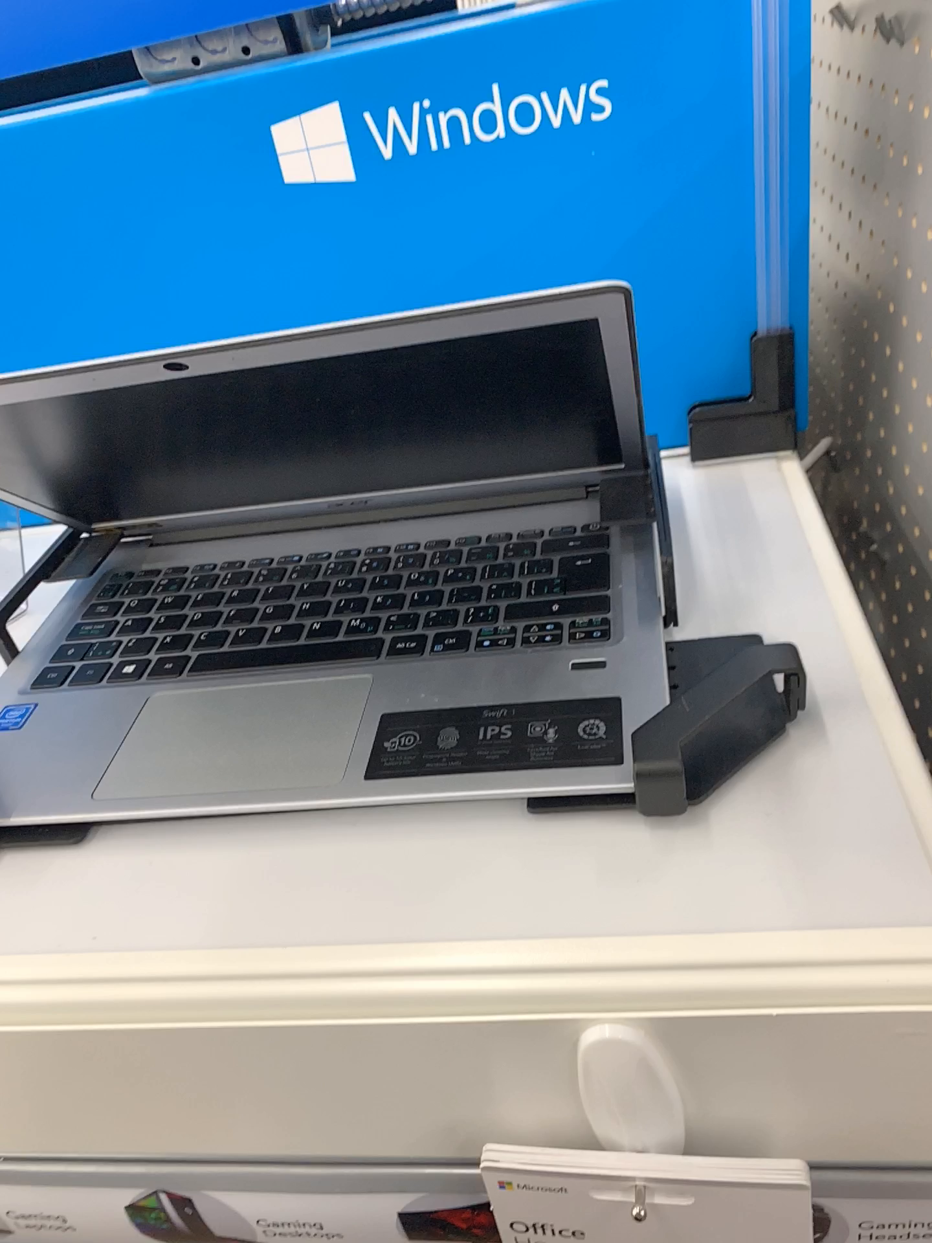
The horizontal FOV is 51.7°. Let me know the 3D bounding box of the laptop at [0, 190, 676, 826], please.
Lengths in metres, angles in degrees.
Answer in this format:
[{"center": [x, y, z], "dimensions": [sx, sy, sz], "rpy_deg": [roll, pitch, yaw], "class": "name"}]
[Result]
[{"center": [-0.084, -0.053, 0.393], "dimensions": [0.305, 0.141, 0.214], "rpy_deg": [-5, 34, 11], "class": "laptop"}]
